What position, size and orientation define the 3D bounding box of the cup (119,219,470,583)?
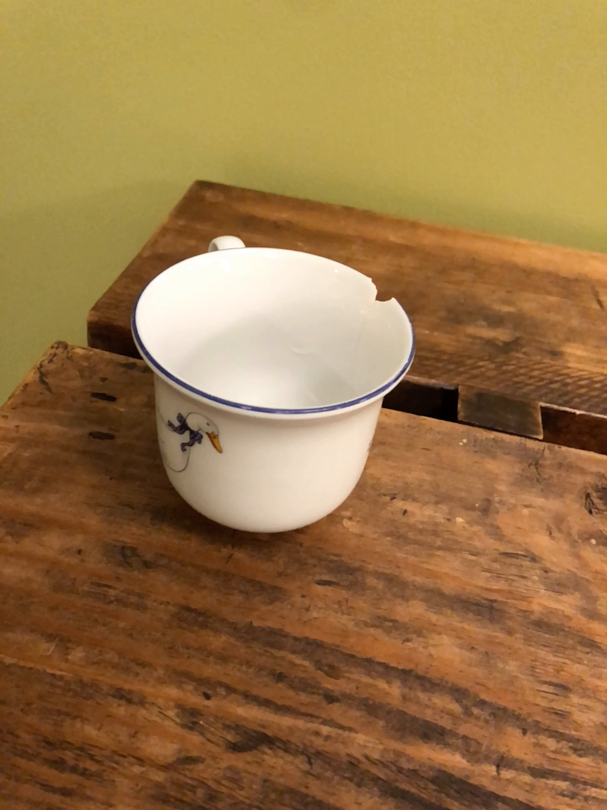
[{"bbox_3d":[-0.012,-0.009,0.232,0.090,0.066,0.108,-3,41,-10],"label":"cup"}]
